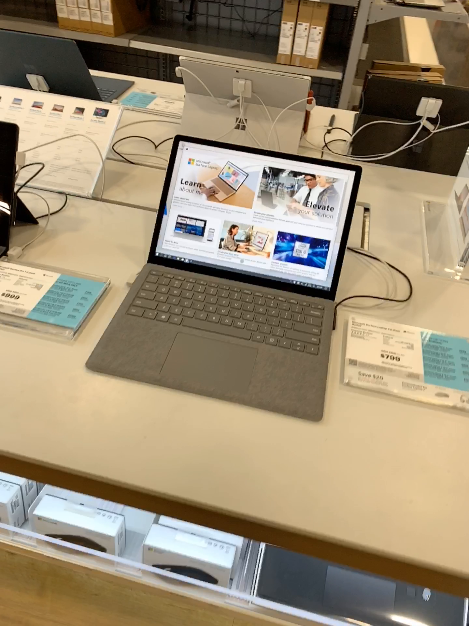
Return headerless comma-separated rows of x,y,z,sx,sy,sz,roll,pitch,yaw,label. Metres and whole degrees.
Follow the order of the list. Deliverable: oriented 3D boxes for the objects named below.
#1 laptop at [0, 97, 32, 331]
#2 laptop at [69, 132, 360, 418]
-0.514,-0.162,0.700,0.289,0.157,0.291,10,44,5,laptop
0.003,-0.084,0.681,0.296,0.148,0.376,12,45,7,laptop
